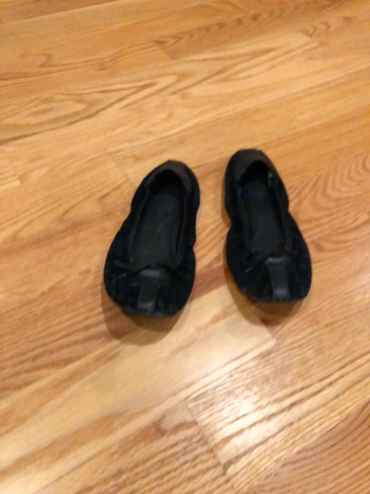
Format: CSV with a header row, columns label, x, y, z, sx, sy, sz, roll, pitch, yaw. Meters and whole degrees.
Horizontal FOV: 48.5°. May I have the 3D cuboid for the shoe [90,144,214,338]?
label,x,y,z,sx,sy,sz,roll,pitch,yaw
shoe,-0.026,-0.018,0.452,0.100,0.050,0.221,6,52,1

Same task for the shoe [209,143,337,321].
label,x,y,z,sx,sy,sz,roll,pitch,yaw
shoe,0.087,-0.028,0.467,0.093,0.046,0.221,-1,52,-5
